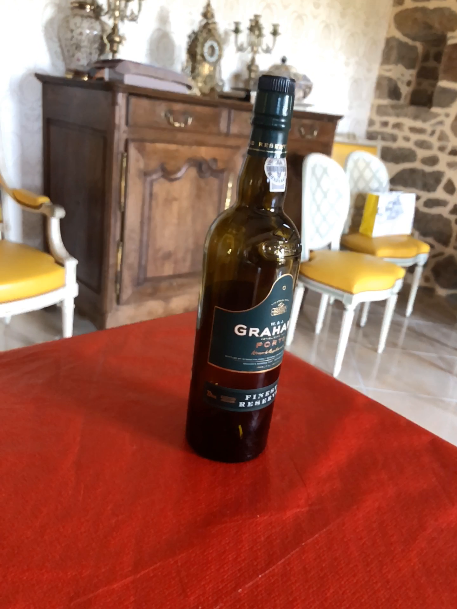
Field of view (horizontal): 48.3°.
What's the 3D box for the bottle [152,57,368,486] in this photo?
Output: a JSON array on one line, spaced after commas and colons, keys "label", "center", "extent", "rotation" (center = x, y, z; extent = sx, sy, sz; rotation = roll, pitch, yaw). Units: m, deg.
[{"label": "bottle", "center": [0.014, -0.022, 0.399], "extent": [0.090, 0.298, 0.090], "rotation": [7, 20, -2]}]
